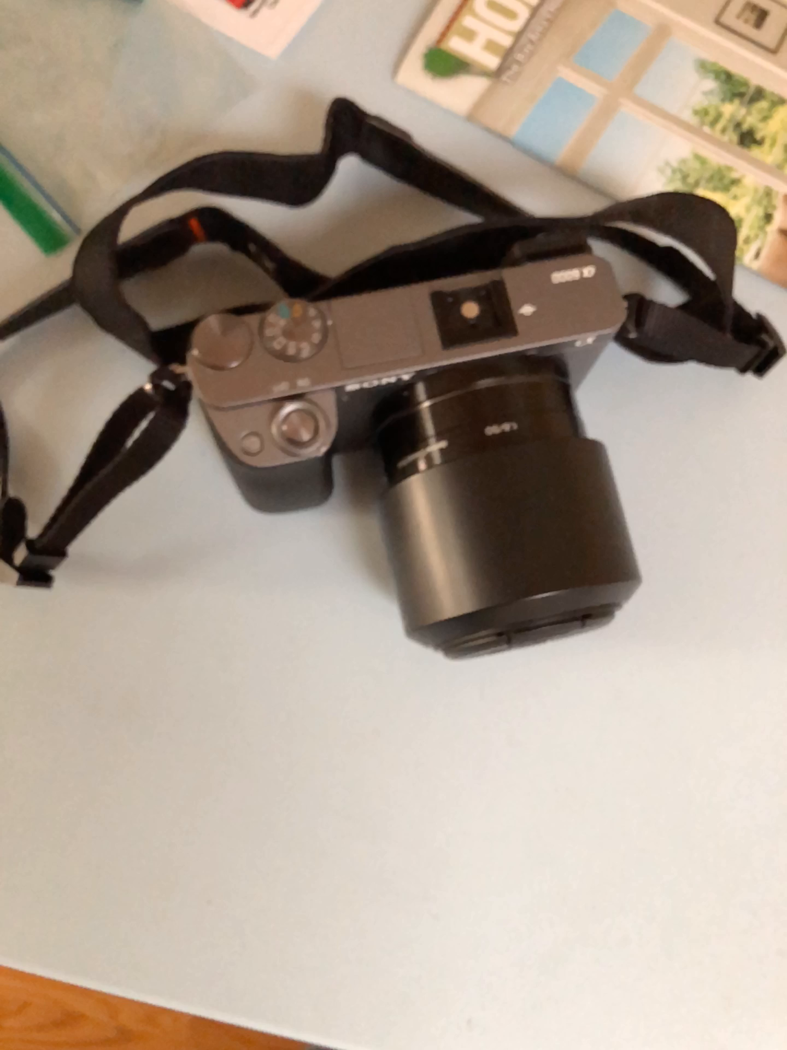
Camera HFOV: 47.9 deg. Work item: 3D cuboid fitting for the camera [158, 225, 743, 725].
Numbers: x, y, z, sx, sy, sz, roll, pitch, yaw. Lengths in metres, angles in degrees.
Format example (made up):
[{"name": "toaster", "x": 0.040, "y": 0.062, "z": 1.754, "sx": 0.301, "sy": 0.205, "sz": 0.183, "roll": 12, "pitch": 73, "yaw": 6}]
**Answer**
[{"name": "camera", "x": 0.011, "y": -0.010, "z": 0.261, "sx": 0.130, "sy": 0.070, "sz": 0.110, "roll": -11, "pitch": 79, "yaw": -5}]
